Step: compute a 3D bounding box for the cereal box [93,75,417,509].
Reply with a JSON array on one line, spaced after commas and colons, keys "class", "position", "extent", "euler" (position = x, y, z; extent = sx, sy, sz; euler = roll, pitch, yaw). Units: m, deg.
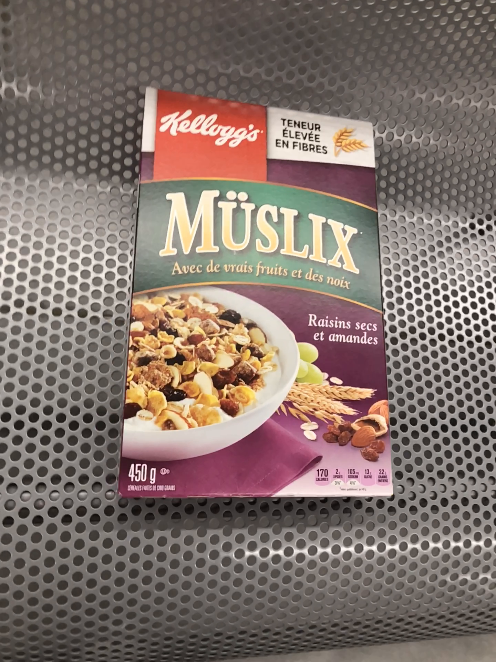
[{"class": "cereal box", "position": [0.004, -0.024, 0.353], "extent": [0.180, 0.050, 0.260], "euler": [3, 75, -12]}]
